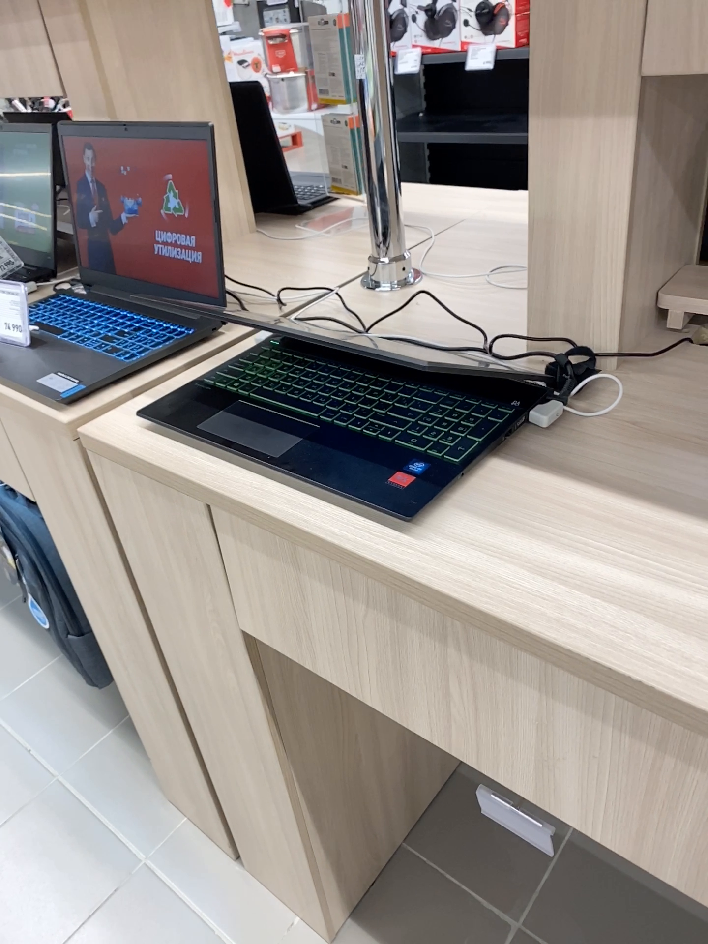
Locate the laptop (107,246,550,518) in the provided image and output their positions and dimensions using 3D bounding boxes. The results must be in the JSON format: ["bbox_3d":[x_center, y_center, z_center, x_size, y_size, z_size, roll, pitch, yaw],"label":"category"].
[{"bbox_3d":[-0.030,-0.117,0.714,0.366,0.108,0.235,19,42,36],"label":"laptop"}]
